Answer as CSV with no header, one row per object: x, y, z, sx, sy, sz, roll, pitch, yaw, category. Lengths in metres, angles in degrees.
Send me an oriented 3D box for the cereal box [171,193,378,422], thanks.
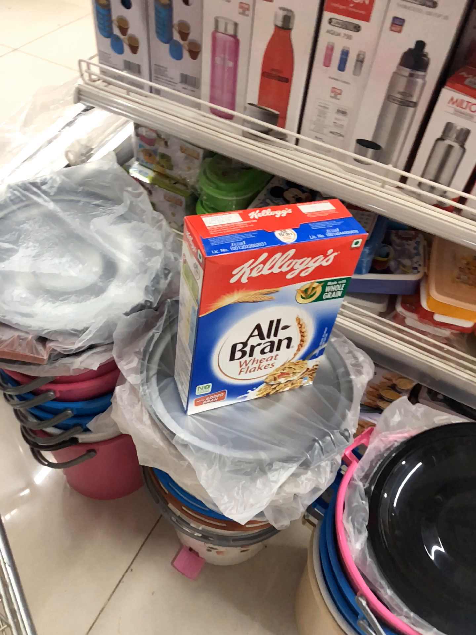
0.026,-0.002,0.622,0.190,0.269,0.070,-11,49,-19,cereal box
